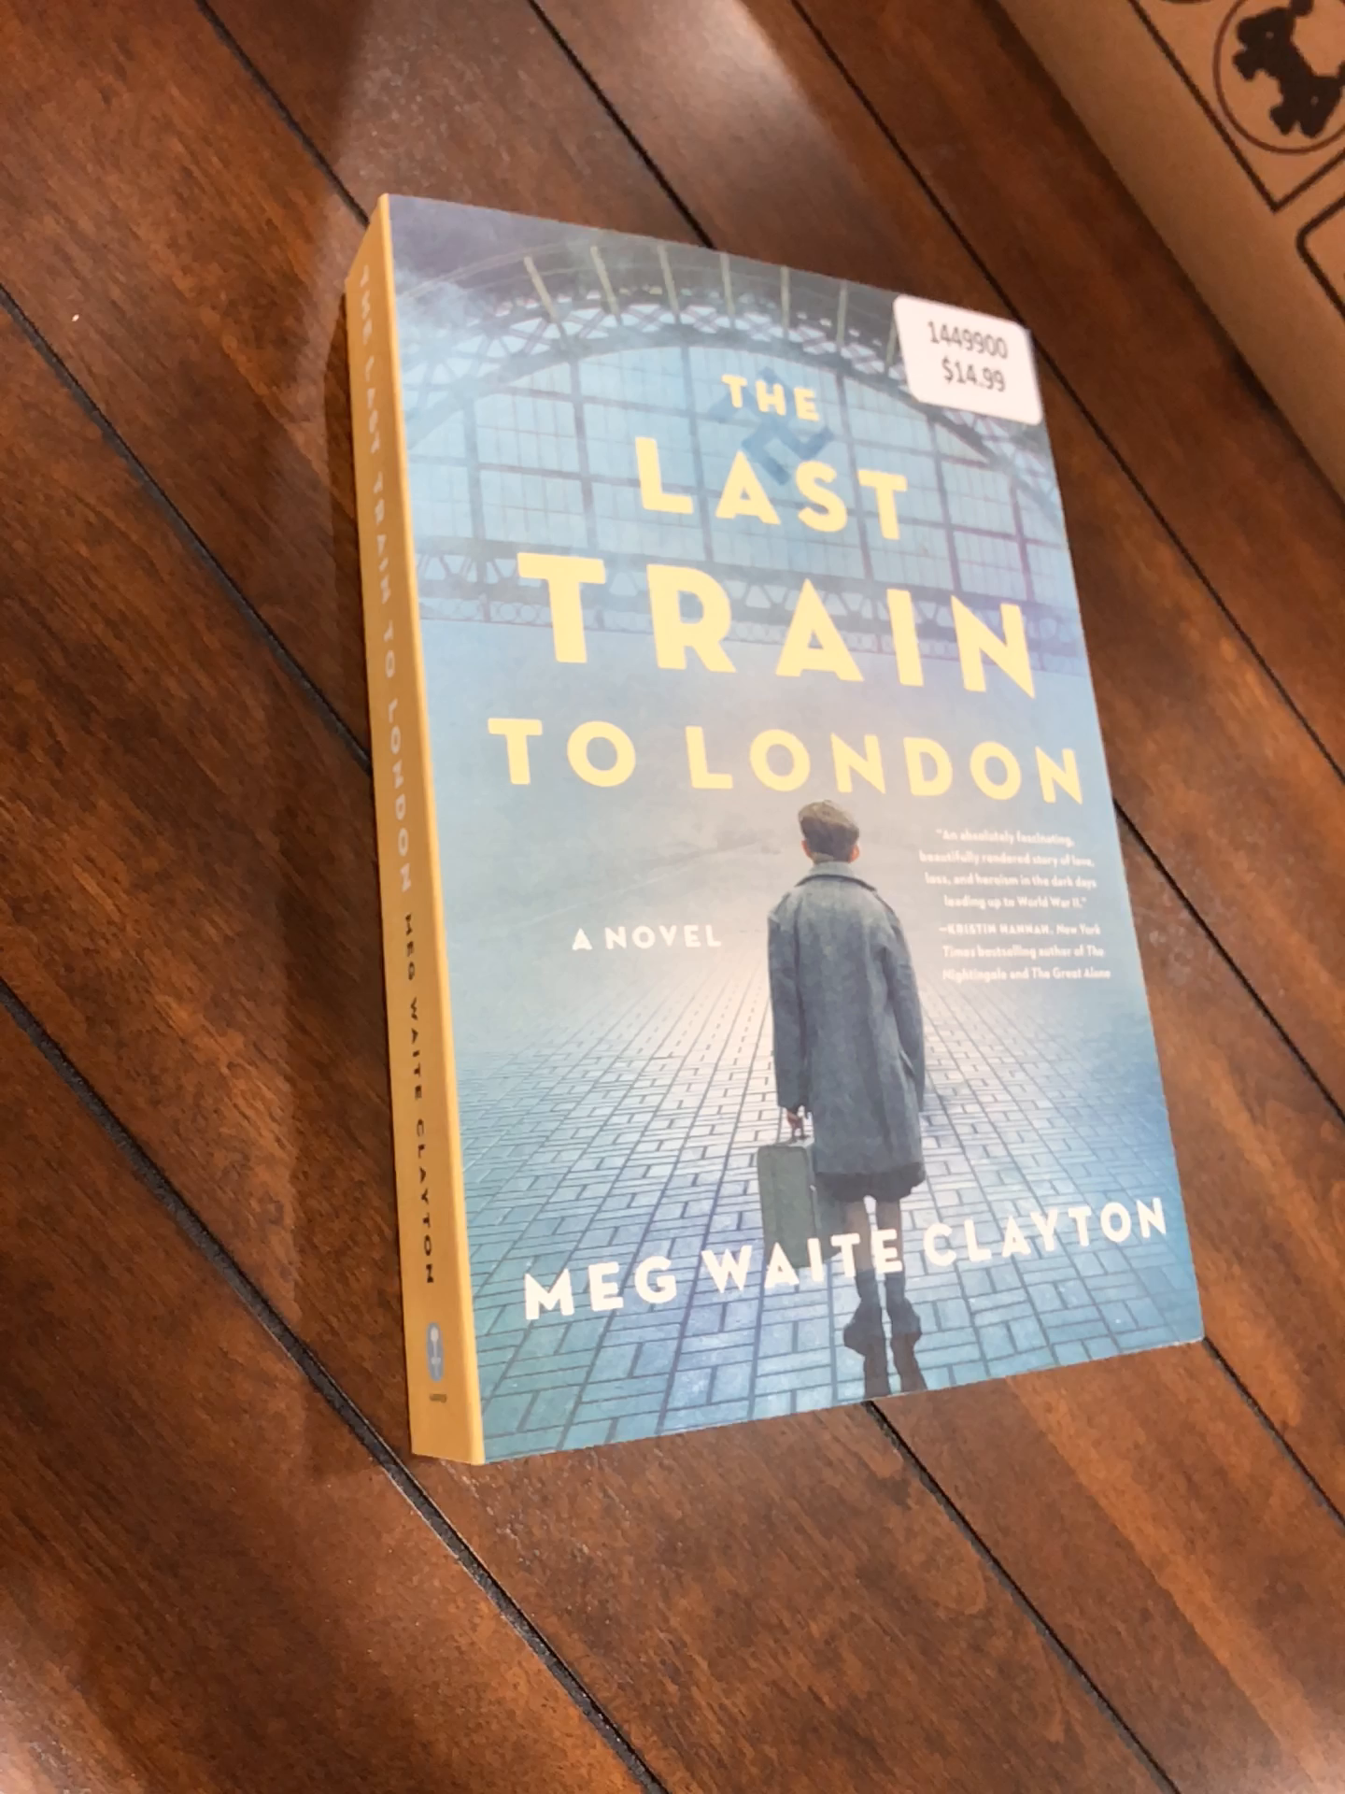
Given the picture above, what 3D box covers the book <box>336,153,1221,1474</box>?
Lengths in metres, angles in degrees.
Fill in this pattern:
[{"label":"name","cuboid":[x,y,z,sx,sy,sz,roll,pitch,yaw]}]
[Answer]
[{"label":"book","cuboid":[0.018,-0.017,0.291,0.151,0.041,0.220,2,76,-25]}]
